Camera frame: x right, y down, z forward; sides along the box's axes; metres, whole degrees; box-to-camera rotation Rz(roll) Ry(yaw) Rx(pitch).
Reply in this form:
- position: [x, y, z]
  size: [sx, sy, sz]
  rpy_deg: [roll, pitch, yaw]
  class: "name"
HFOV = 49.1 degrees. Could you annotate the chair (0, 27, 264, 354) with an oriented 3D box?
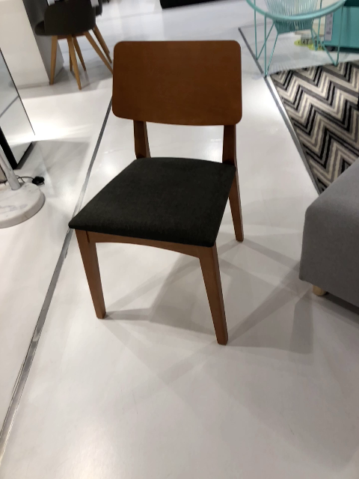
- position: [-0.045, -0.161, 1.297]
  size: [0.531, 0.804, 0.584]
  rpy_deg: [8, 43, 21]
  class: "chair"
